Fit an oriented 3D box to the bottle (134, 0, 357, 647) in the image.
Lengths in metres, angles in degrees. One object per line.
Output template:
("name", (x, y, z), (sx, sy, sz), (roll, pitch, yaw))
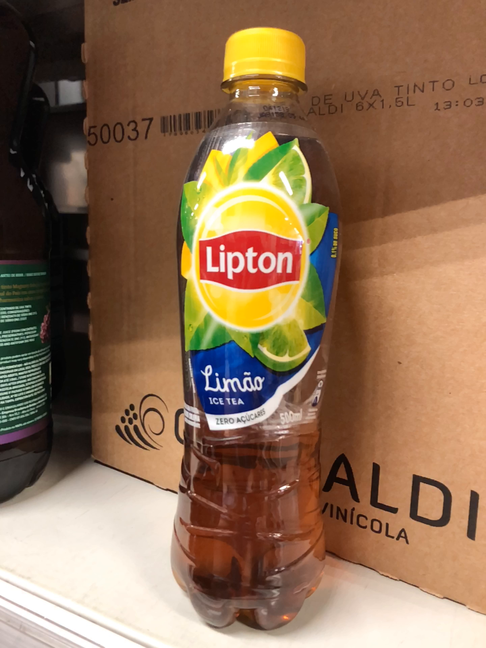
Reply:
("bottle", (0.004, 0.003, 0.215), (0.070, 0.219, 0.060), (2, 10, 10))
